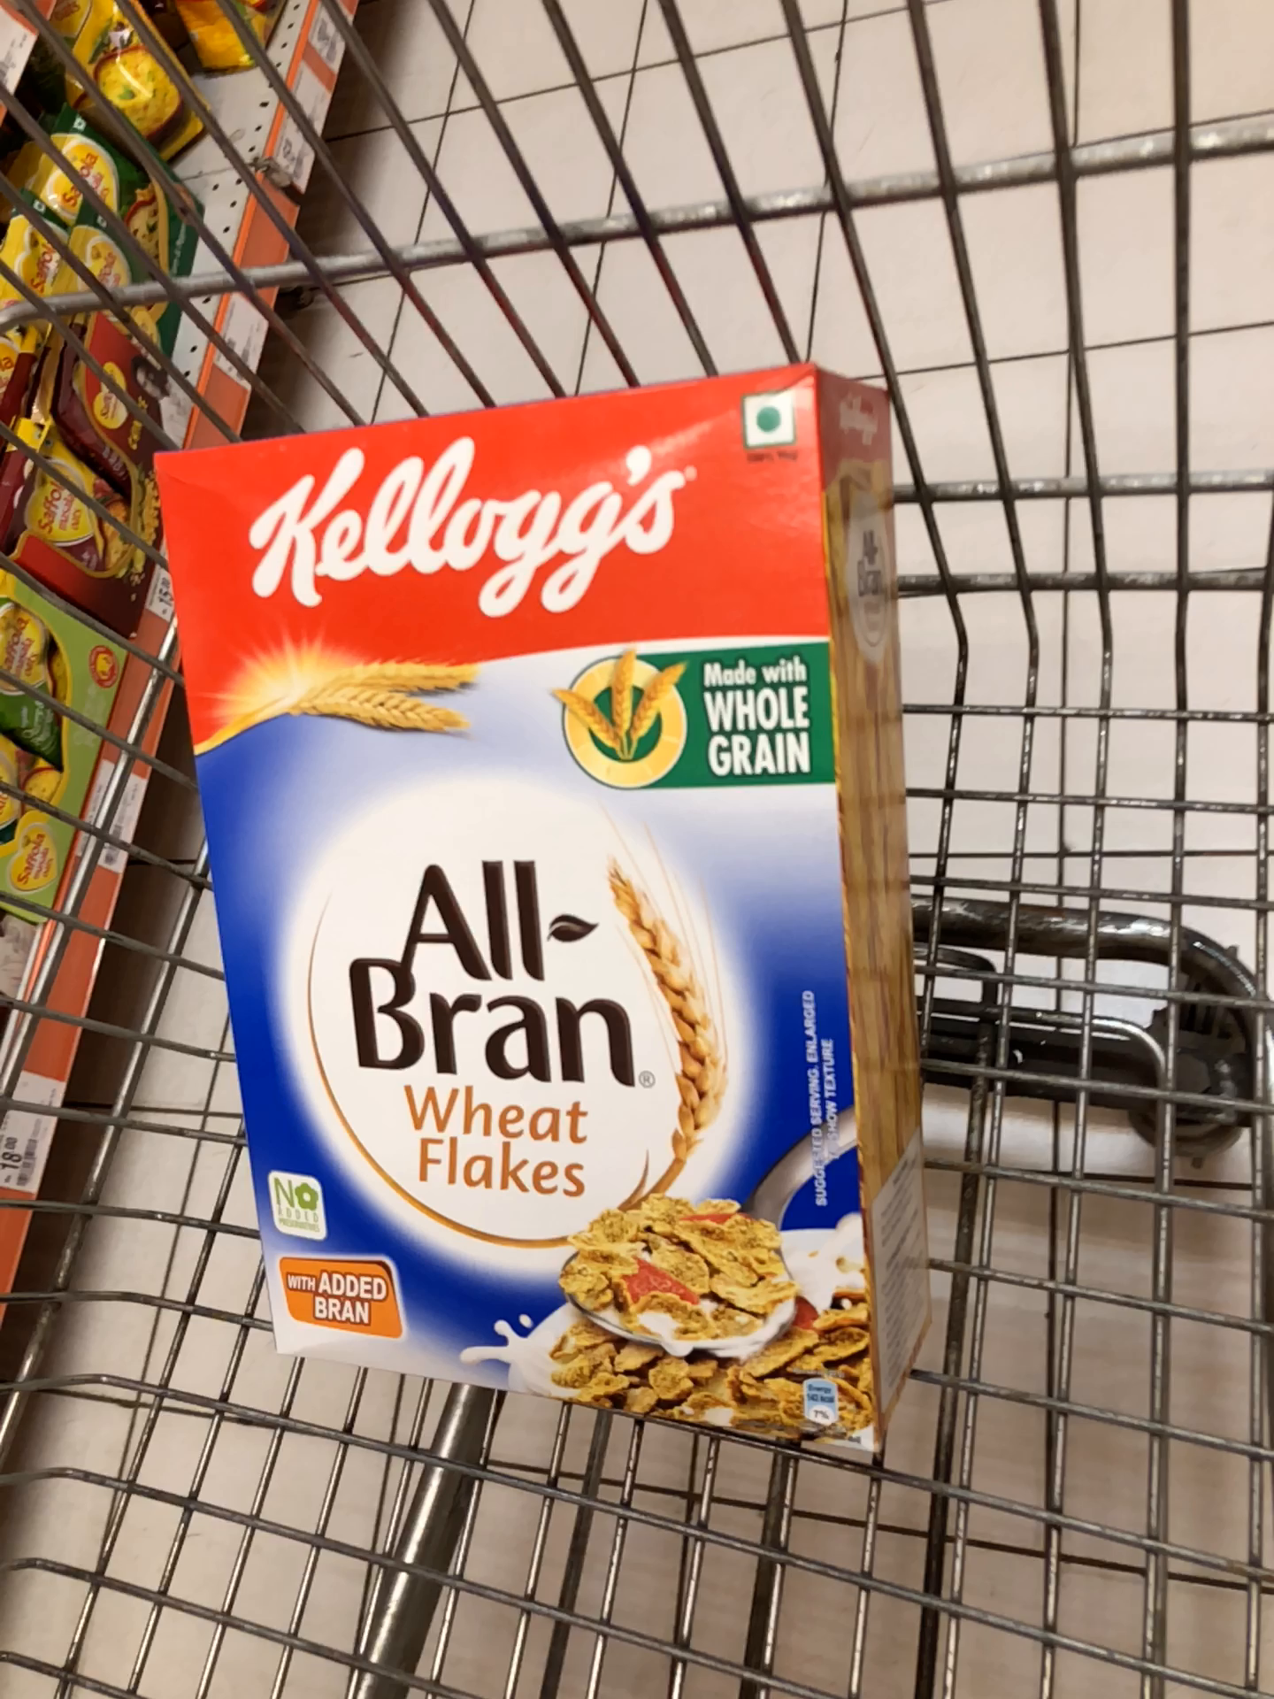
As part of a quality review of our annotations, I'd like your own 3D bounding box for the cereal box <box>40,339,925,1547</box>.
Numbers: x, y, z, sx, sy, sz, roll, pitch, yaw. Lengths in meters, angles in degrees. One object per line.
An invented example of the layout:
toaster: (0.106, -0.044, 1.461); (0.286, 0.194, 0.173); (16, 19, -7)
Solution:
cereal box: (-0.031, 0.022, 0.372); (0.190, 0.080, 0.270); (0, 104, 22)
